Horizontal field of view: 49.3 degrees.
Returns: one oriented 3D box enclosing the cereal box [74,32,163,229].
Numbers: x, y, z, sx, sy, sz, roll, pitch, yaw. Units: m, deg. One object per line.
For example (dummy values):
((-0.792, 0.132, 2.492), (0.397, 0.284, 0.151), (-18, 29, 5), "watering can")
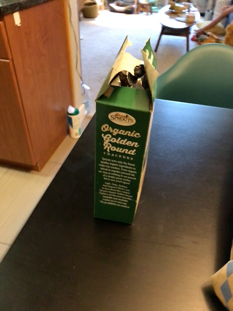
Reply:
((0.009, -0.038, 0.403), (0.080, 0.248, 0.171), (9, 39, 9), "cereal box")
